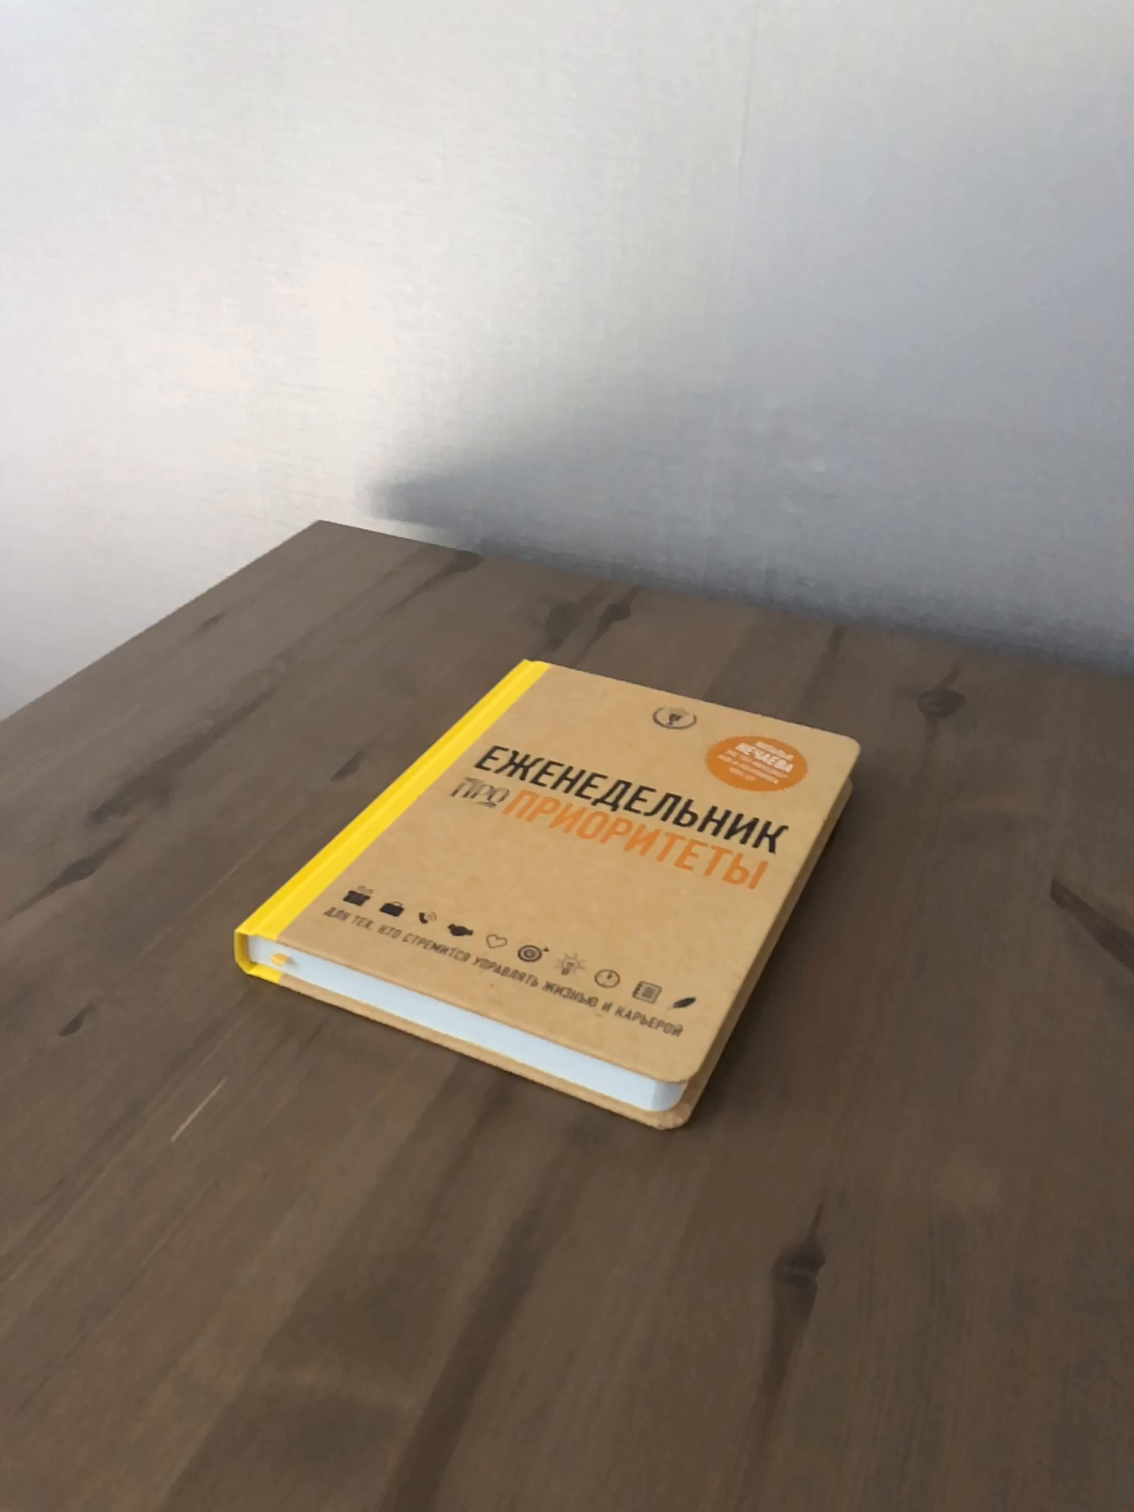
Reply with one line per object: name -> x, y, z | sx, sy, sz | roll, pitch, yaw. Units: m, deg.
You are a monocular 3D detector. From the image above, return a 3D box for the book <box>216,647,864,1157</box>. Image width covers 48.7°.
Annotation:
book -> 0.004, 0.038, 0.515 | 0.180, 0.032, 0.230 | 15, 36, 20
